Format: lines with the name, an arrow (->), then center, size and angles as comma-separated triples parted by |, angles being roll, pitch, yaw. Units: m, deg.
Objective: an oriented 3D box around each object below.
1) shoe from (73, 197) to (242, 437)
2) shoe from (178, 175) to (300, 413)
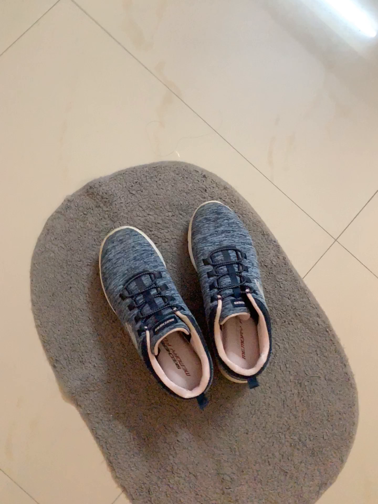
shoe -> -0.047, 0.084, 0.544 | 0.100, 0.100, 0.290 | -26, 88, -10
shoe -> 0.058, 0.050, 0.511 | 0.090, 0.100, 0.270 | -11, 86, -5
